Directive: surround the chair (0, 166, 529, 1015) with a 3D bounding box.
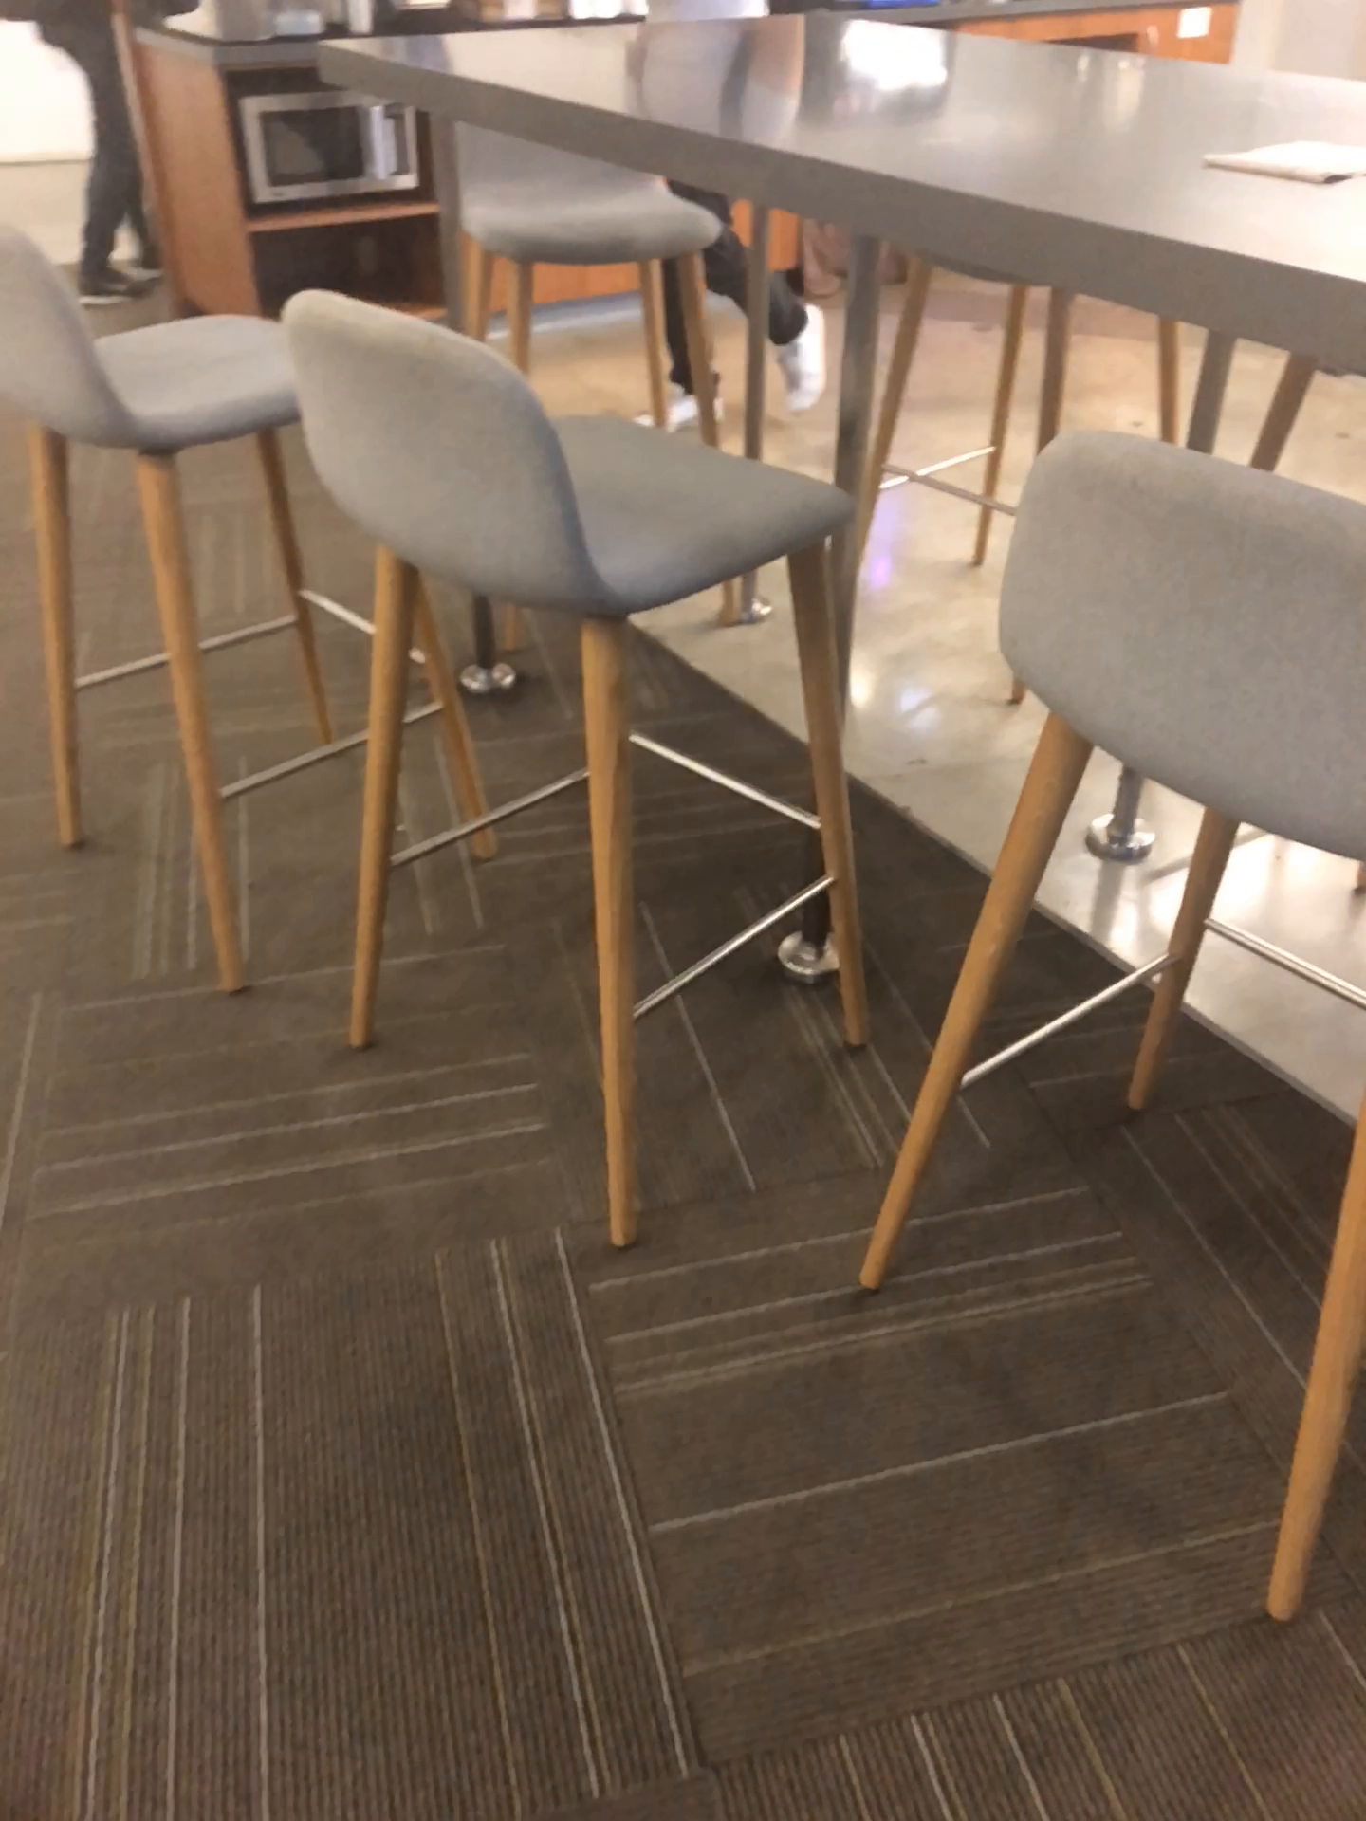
[{"bbox_3d":[-0.636,-0.471,2.122,0.543,0.942,0.571,-28,43,-35],"label":"chair"}]

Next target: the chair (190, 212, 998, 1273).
[{"bbox_3d":[-0.090,-0.215,1.716,0.543,0.942,0.571,-28,43,-35],"label":"chair"}]

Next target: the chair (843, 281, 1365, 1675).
[{"bbox_3d":[0.562,0.050,1.388,0.543,1.031,0.542,-25,41,-32],"label":"chair"}]
